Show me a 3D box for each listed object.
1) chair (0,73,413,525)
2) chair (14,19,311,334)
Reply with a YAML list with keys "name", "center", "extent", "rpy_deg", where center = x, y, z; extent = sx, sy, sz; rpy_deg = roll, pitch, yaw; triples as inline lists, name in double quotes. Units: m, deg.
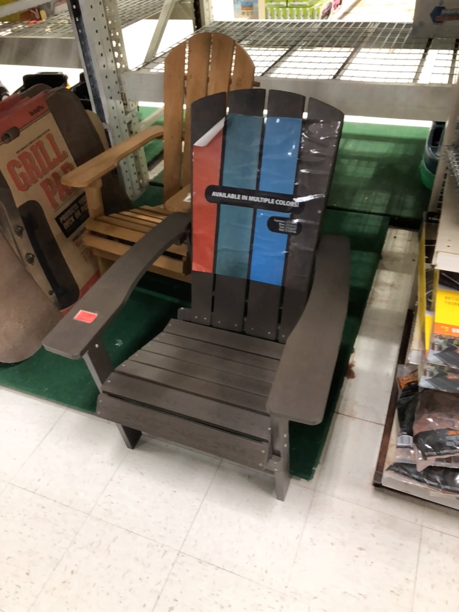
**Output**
- name: "chair"
  center: [0.035, -0.096, 1.489]
  extent: [0.718, 0.816, 0.919]
  rpy_deg: [12, 44, 19]
- name: "chair"
  center: [-0.159, -0.590, 2.099]
  extent: [0.638, 0.846, 0.978]
  rpy_deg: [17, 45, 23]
